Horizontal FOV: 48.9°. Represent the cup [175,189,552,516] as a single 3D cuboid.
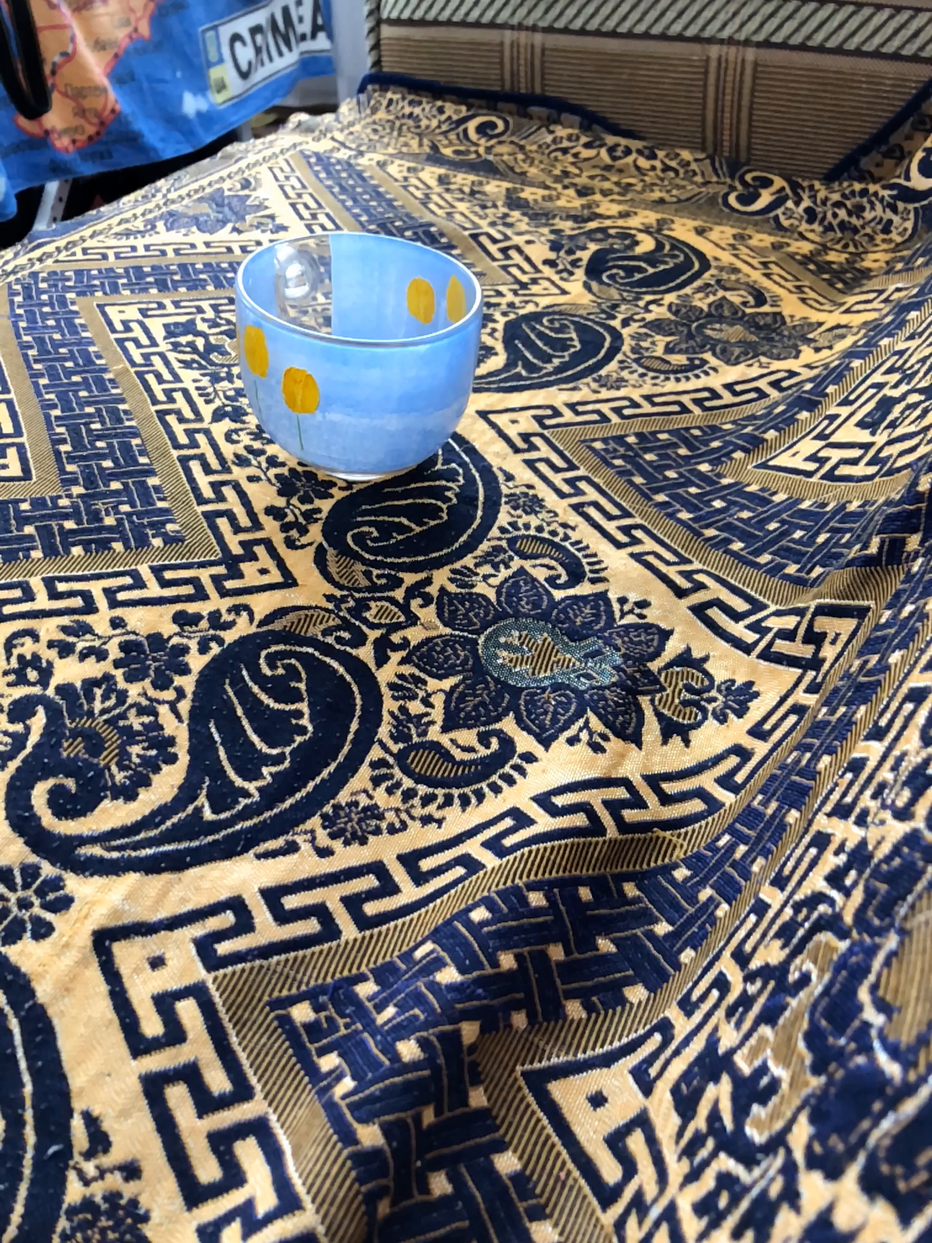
[{"bbox_3d":[-0.049,-0.131,0.473,0.108,0.072,0.139,-25,49,-27],"label":"cup"}]
